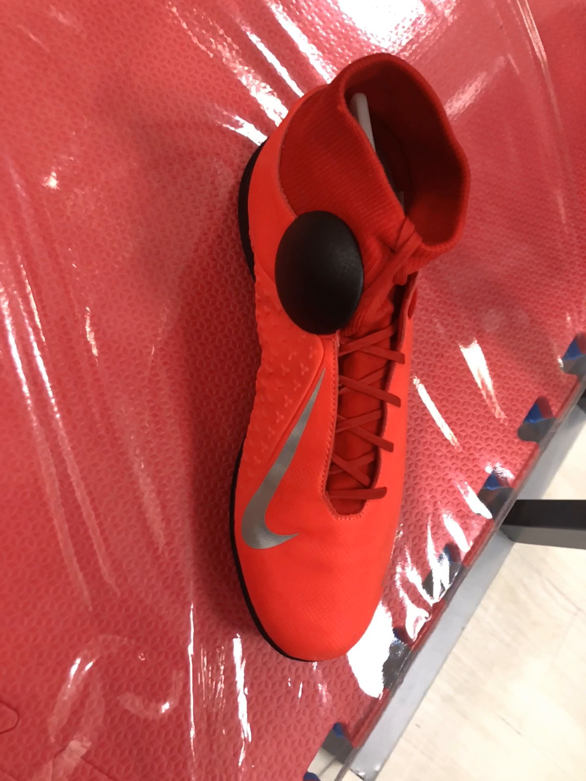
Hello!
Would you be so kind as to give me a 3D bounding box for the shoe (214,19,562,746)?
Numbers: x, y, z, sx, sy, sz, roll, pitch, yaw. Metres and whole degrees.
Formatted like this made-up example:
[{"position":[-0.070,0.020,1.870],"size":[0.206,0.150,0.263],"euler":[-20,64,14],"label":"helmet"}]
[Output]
[{"position":[0.027,-0.004,0.291],"size":[0.090,0.120,0.250],"euler":[0,81,-21],"label":"shoe"}]
